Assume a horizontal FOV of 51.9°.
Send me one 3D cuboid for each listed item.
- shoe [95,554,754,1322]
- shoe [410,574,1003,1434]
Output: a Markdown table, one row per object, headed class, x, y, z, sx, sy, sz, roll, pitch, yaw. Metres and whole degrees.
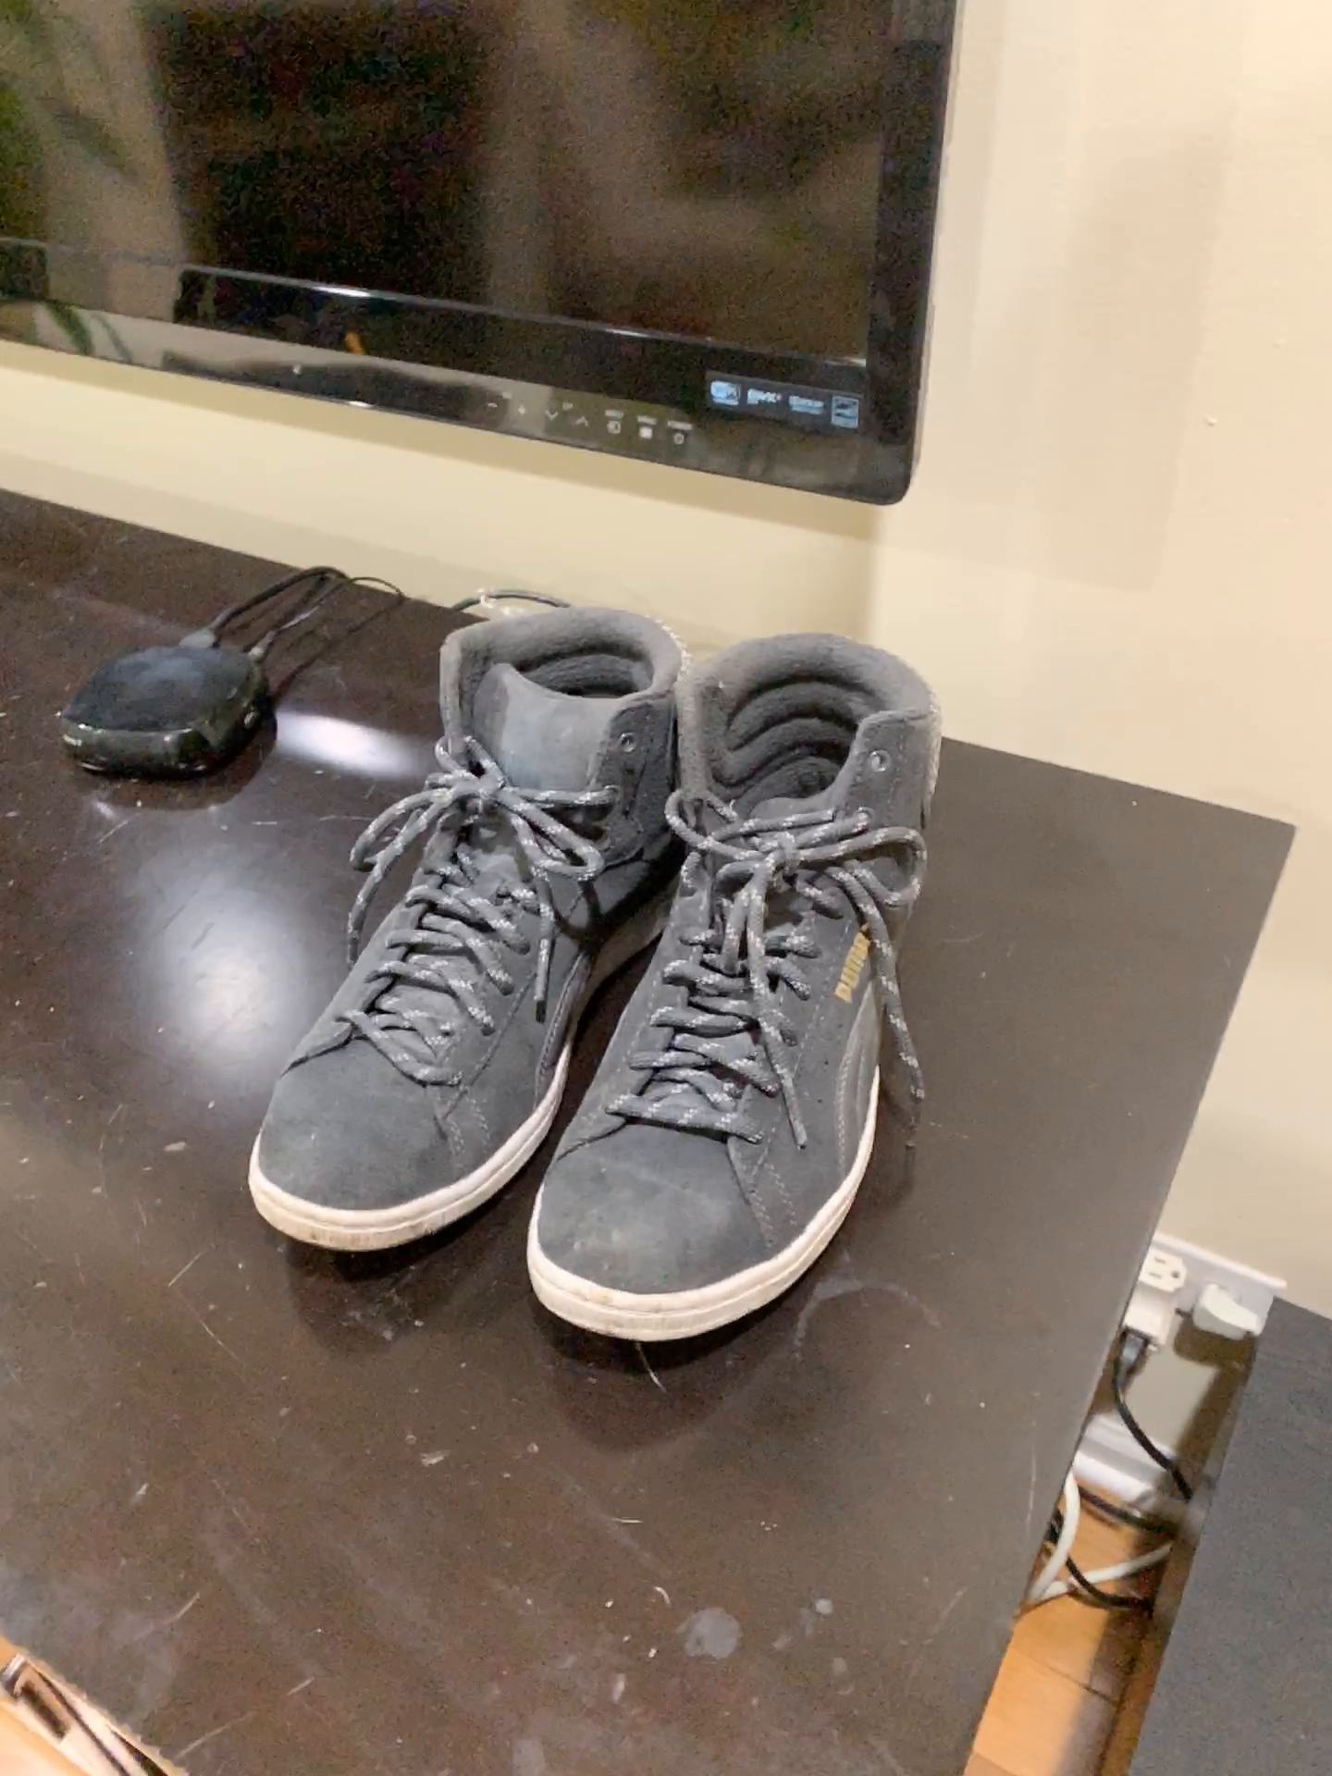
| class | x | y | z | sx | sy | sz | roll | pitch | yaw |
| --- | --- | --- | --- | --- | --- | --- | --- | --- | --- |
| shoe | -0.057 | -0.003 | 0.476 | 0.100 | 0.107 | 0.262 | 12 | 42 | 17 |
| shoe | 0.031 | 0.017 | 0.447 | 0.097 | 0.124 | 0.254 | 12 | 42 | 17 |
